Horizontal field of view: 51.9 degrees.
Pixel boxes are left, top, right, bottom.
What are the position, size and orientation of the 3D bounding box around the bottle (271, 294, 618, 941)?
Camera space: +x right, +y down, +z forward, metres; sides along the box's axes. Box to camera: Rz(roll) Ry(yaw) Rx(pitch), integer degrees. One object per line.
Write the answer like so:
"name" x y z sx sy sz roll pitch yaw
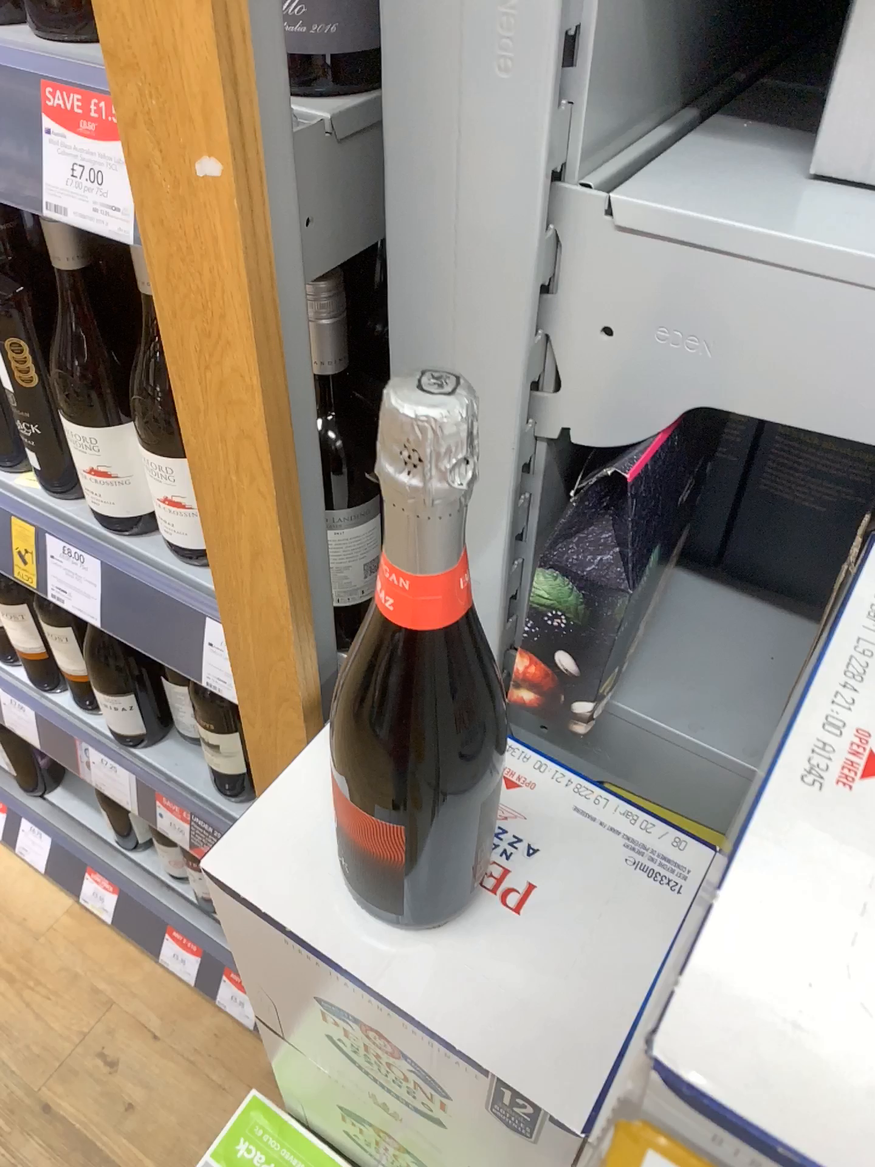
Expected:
"bottle" -0.005 0.037 0.385 0.094 0.289 0.091 1 44 -1
